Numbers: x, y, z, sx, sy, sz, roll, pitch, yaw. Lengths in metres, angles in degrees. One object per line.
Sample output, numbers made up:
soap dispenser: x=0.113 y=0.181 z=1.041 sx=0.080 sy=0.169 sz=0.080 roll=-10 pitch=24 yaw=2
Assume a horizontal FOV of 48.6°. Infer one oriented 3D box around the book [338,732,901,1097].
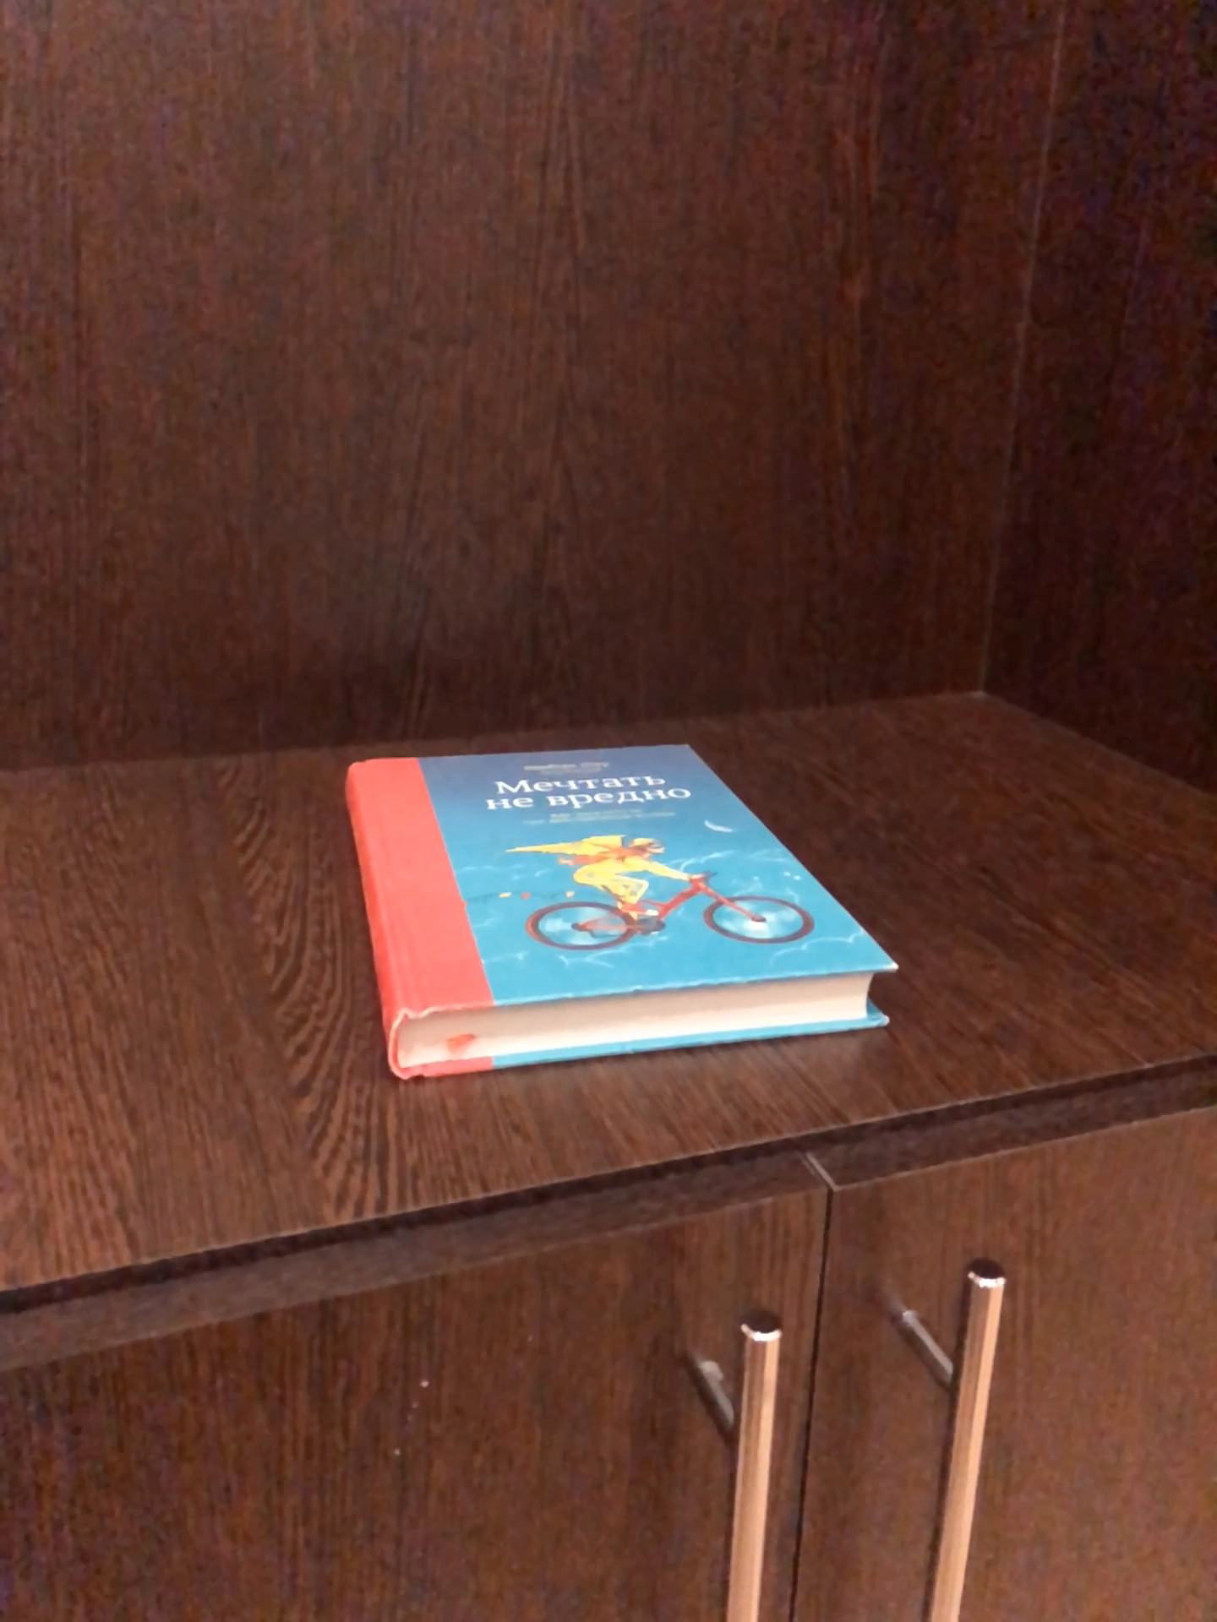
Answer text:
book: x=-0.013 y=0.021 z=0.465 sx=0.145 sy=0.025 sz=0.211 roll=-4 pitch=22 yaw=-13
